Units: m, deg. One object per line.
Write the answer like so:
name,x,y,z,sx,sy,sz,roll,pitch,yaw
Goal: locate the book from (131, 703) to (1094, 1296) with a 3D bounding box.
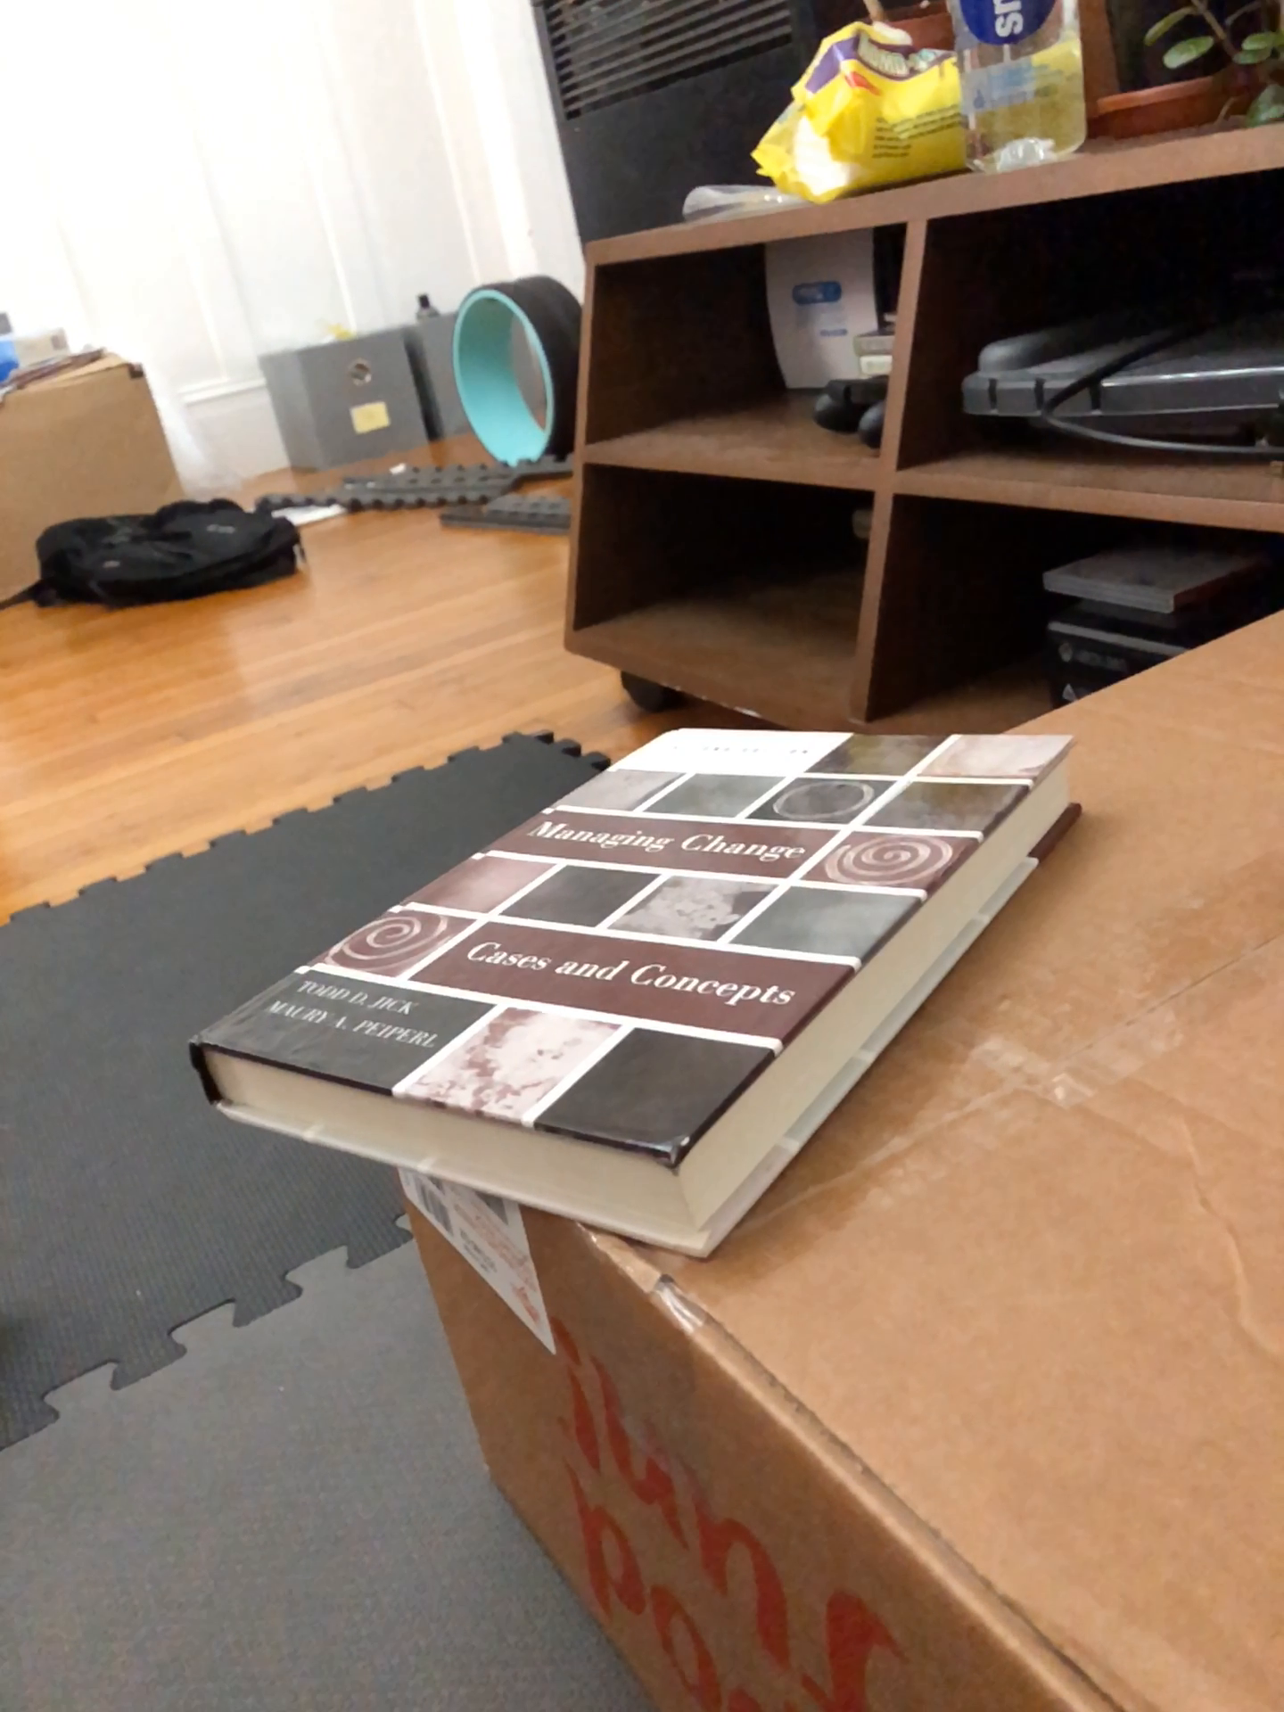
book,0.006,0.015,0.430,0.180,0.030,0.251,6,30,35
